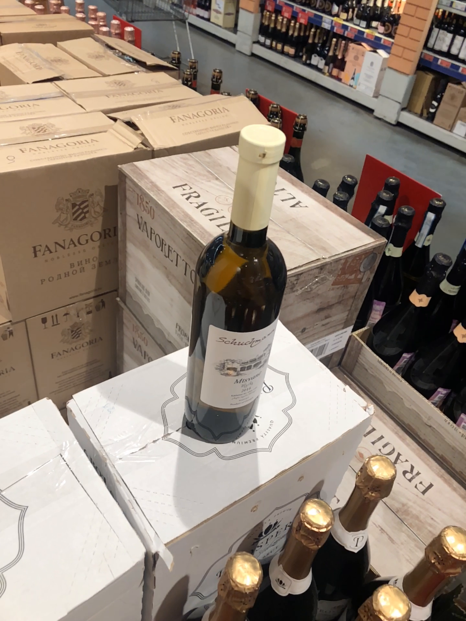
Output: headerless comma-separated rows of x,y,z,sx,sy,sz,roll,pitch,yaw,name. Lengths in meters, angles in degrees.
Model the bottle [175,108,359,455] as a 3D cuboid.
0.010,-0.006,0.419,0.080,0.288,0.073,-11,44,-23,bottle
